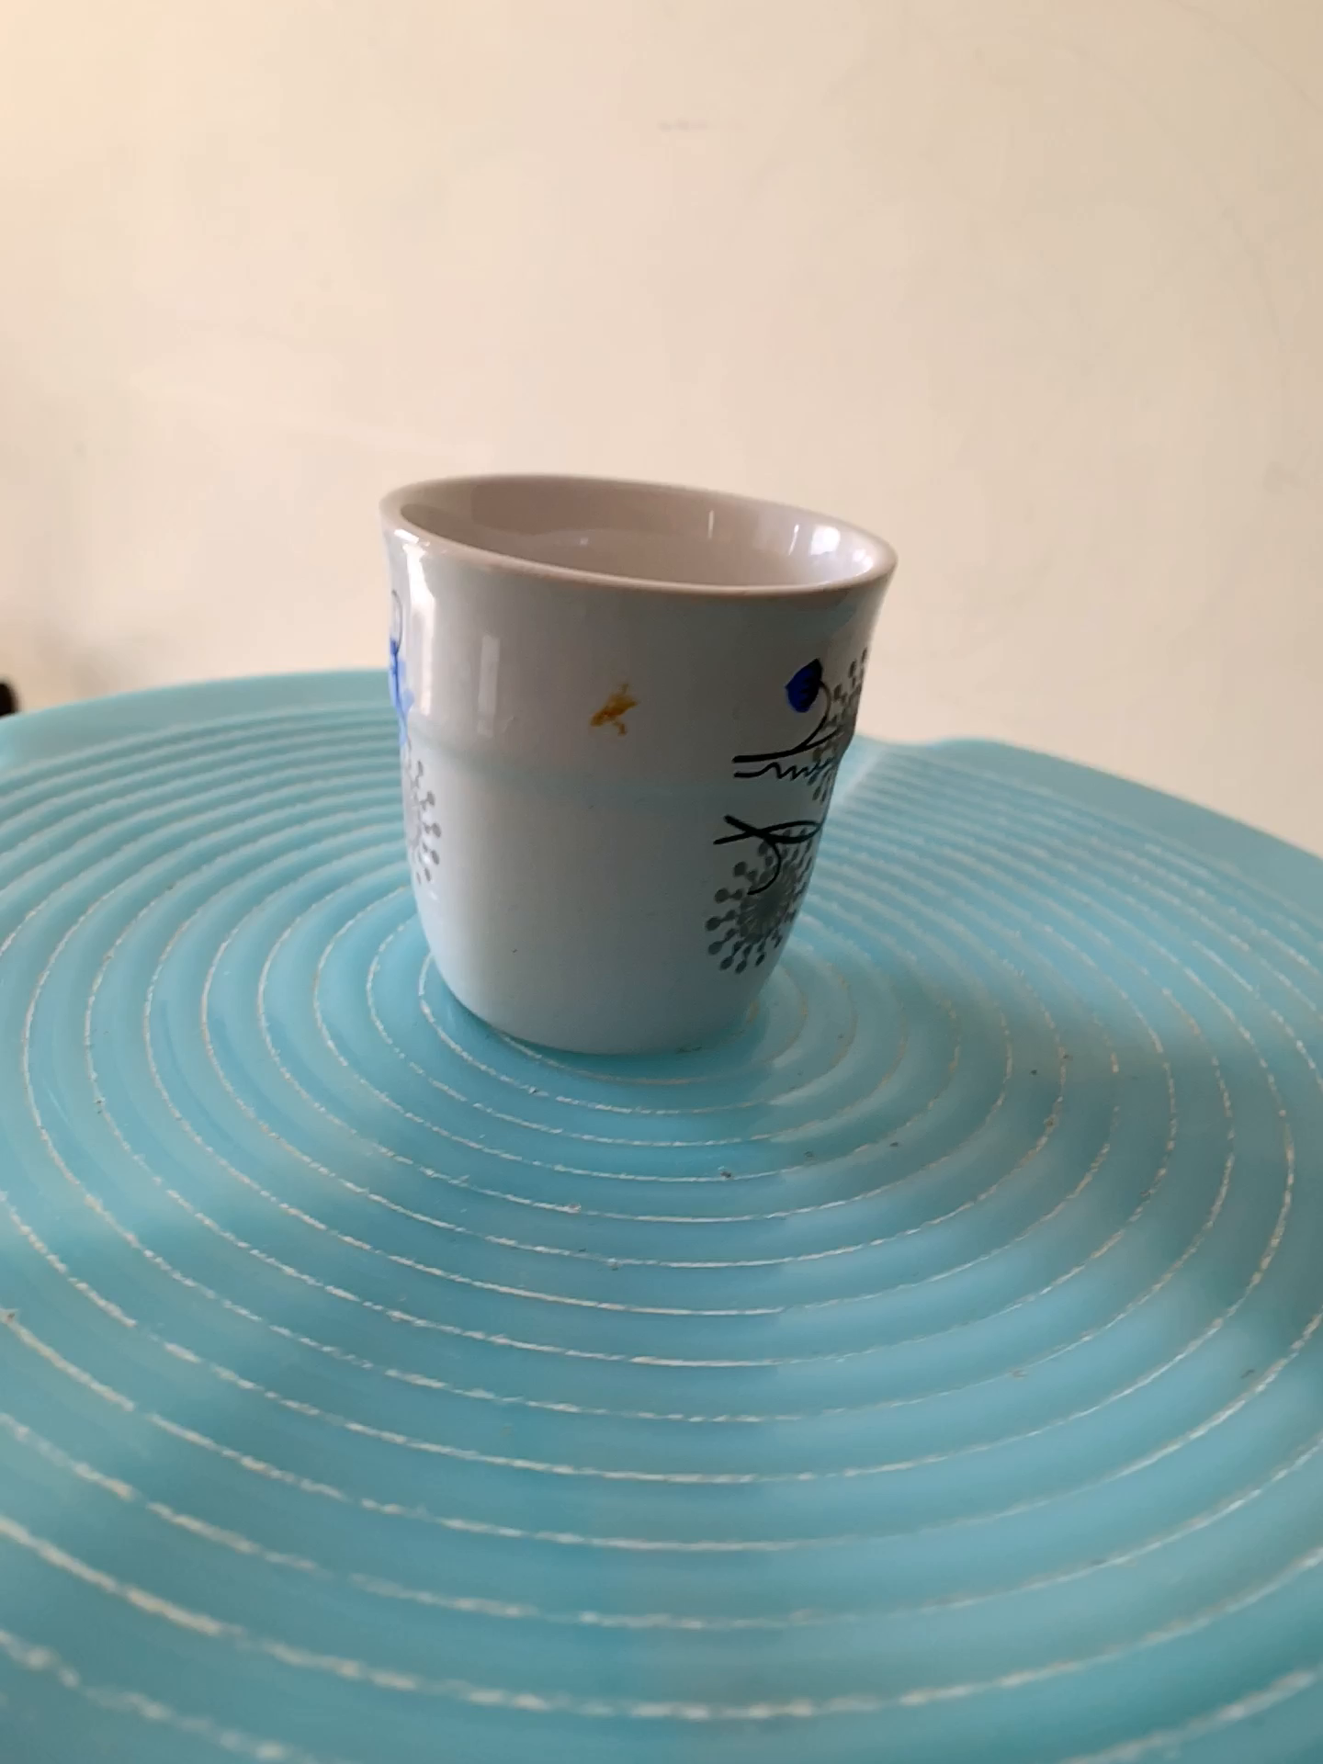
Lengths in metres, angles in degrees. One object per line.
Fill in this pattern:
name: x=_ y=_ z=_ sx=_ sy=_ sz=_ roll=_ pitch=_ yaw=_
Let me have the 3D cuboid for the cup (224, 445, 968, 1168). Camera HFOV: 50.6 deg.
cup: x=-0.002 y=-0.019 z=0.189 sx=0.070 sy=0.060 sz=0.091 roll=11 pitch=24 yaw=12
